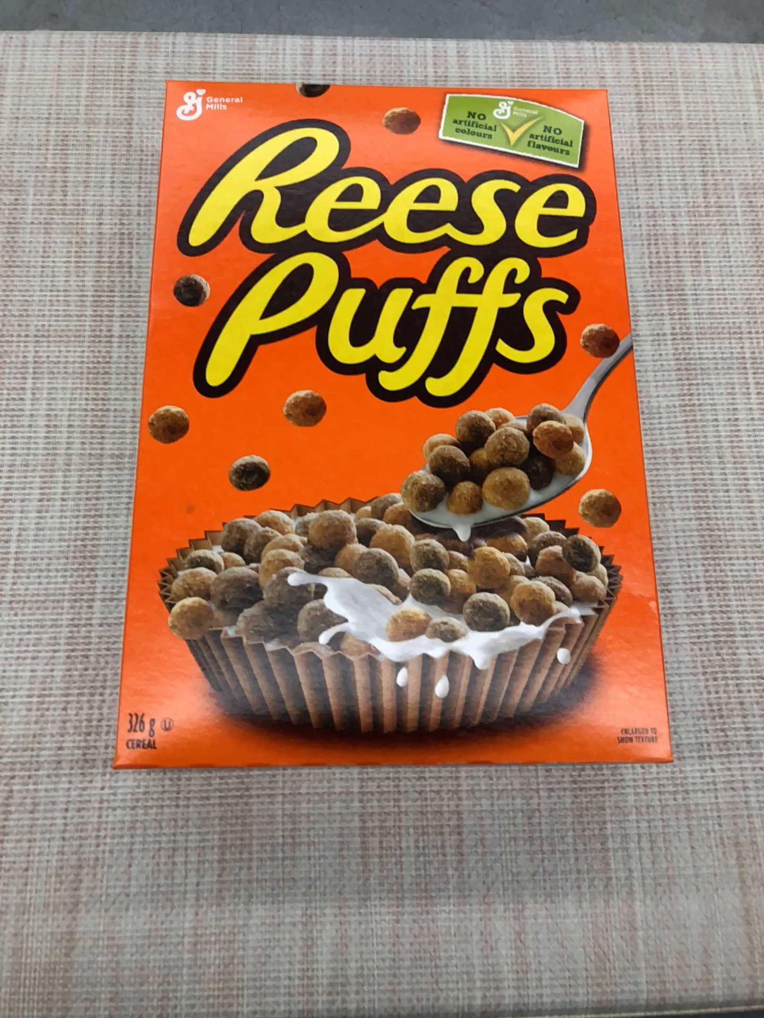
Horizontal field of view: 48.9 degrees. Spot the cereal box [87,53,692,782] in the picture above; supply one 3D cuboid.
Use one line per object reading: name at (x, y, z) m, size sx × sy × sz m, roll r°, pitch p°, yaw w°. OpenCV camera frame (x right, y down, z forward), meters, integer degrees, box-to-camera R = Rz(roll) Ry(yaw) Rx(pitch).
cereal box at (0.001, -0.040, 0.341) m, size 0.200 × 0.060 × 0.280 m, roll 0°, pitch 75°, yaw -5°
